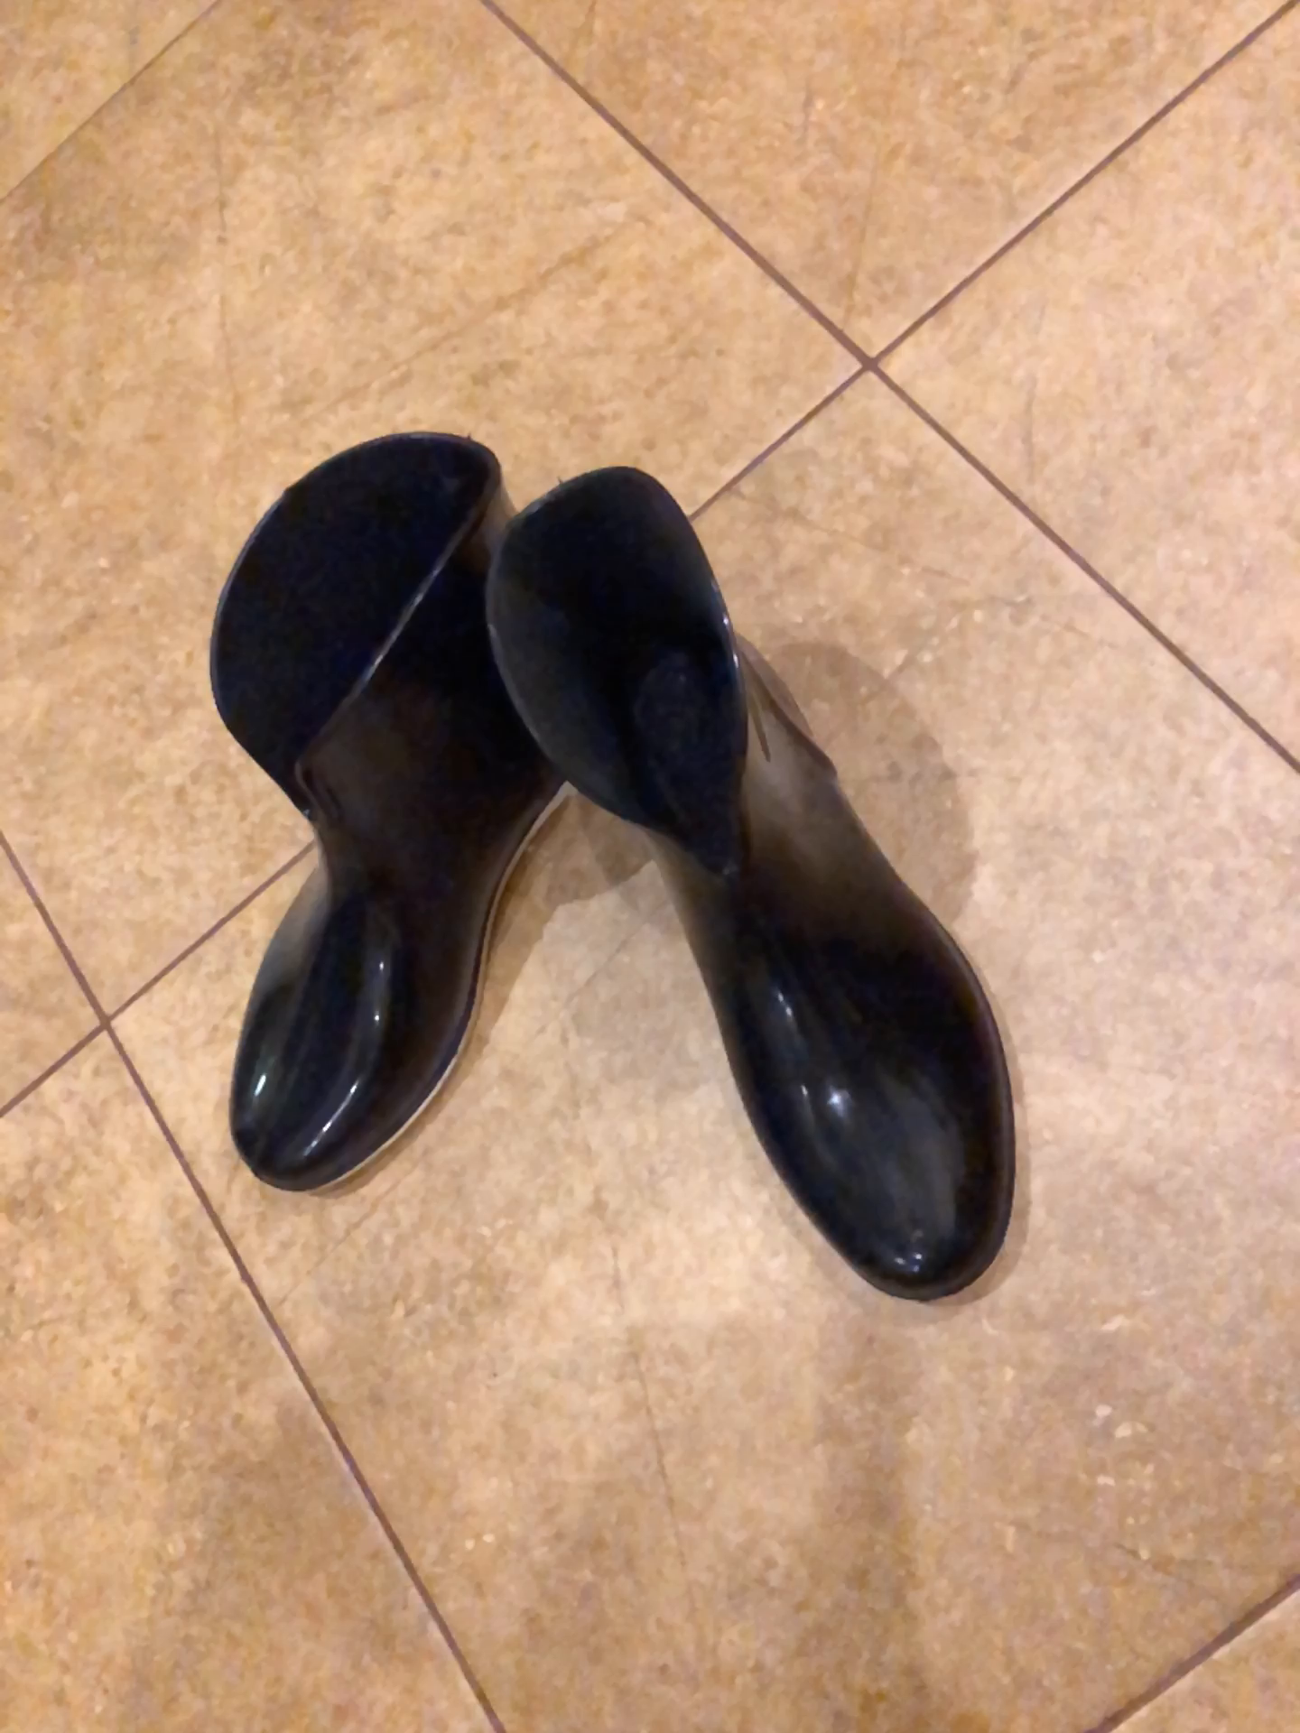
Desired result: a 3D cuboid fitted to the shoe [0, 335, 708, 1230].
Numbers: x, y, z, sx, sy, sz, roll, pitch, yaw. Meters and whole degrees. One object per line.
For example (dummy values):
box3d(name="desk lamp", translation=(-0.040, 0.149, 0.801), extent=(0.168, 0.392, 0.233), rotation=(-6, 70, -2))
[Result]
box3d(name="shoe", translation=(-0.102, -0.011, 0.470), extent=(0.090, 0.170, 0.240), rotation=(30, 86, 23))

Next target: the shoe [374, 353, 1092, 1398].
box3d(name="shoe", translation=(0.031, 0.011, 0.418), extent=(0.090, 0.170, 0.241), rotation=(-25, 69, 10))
